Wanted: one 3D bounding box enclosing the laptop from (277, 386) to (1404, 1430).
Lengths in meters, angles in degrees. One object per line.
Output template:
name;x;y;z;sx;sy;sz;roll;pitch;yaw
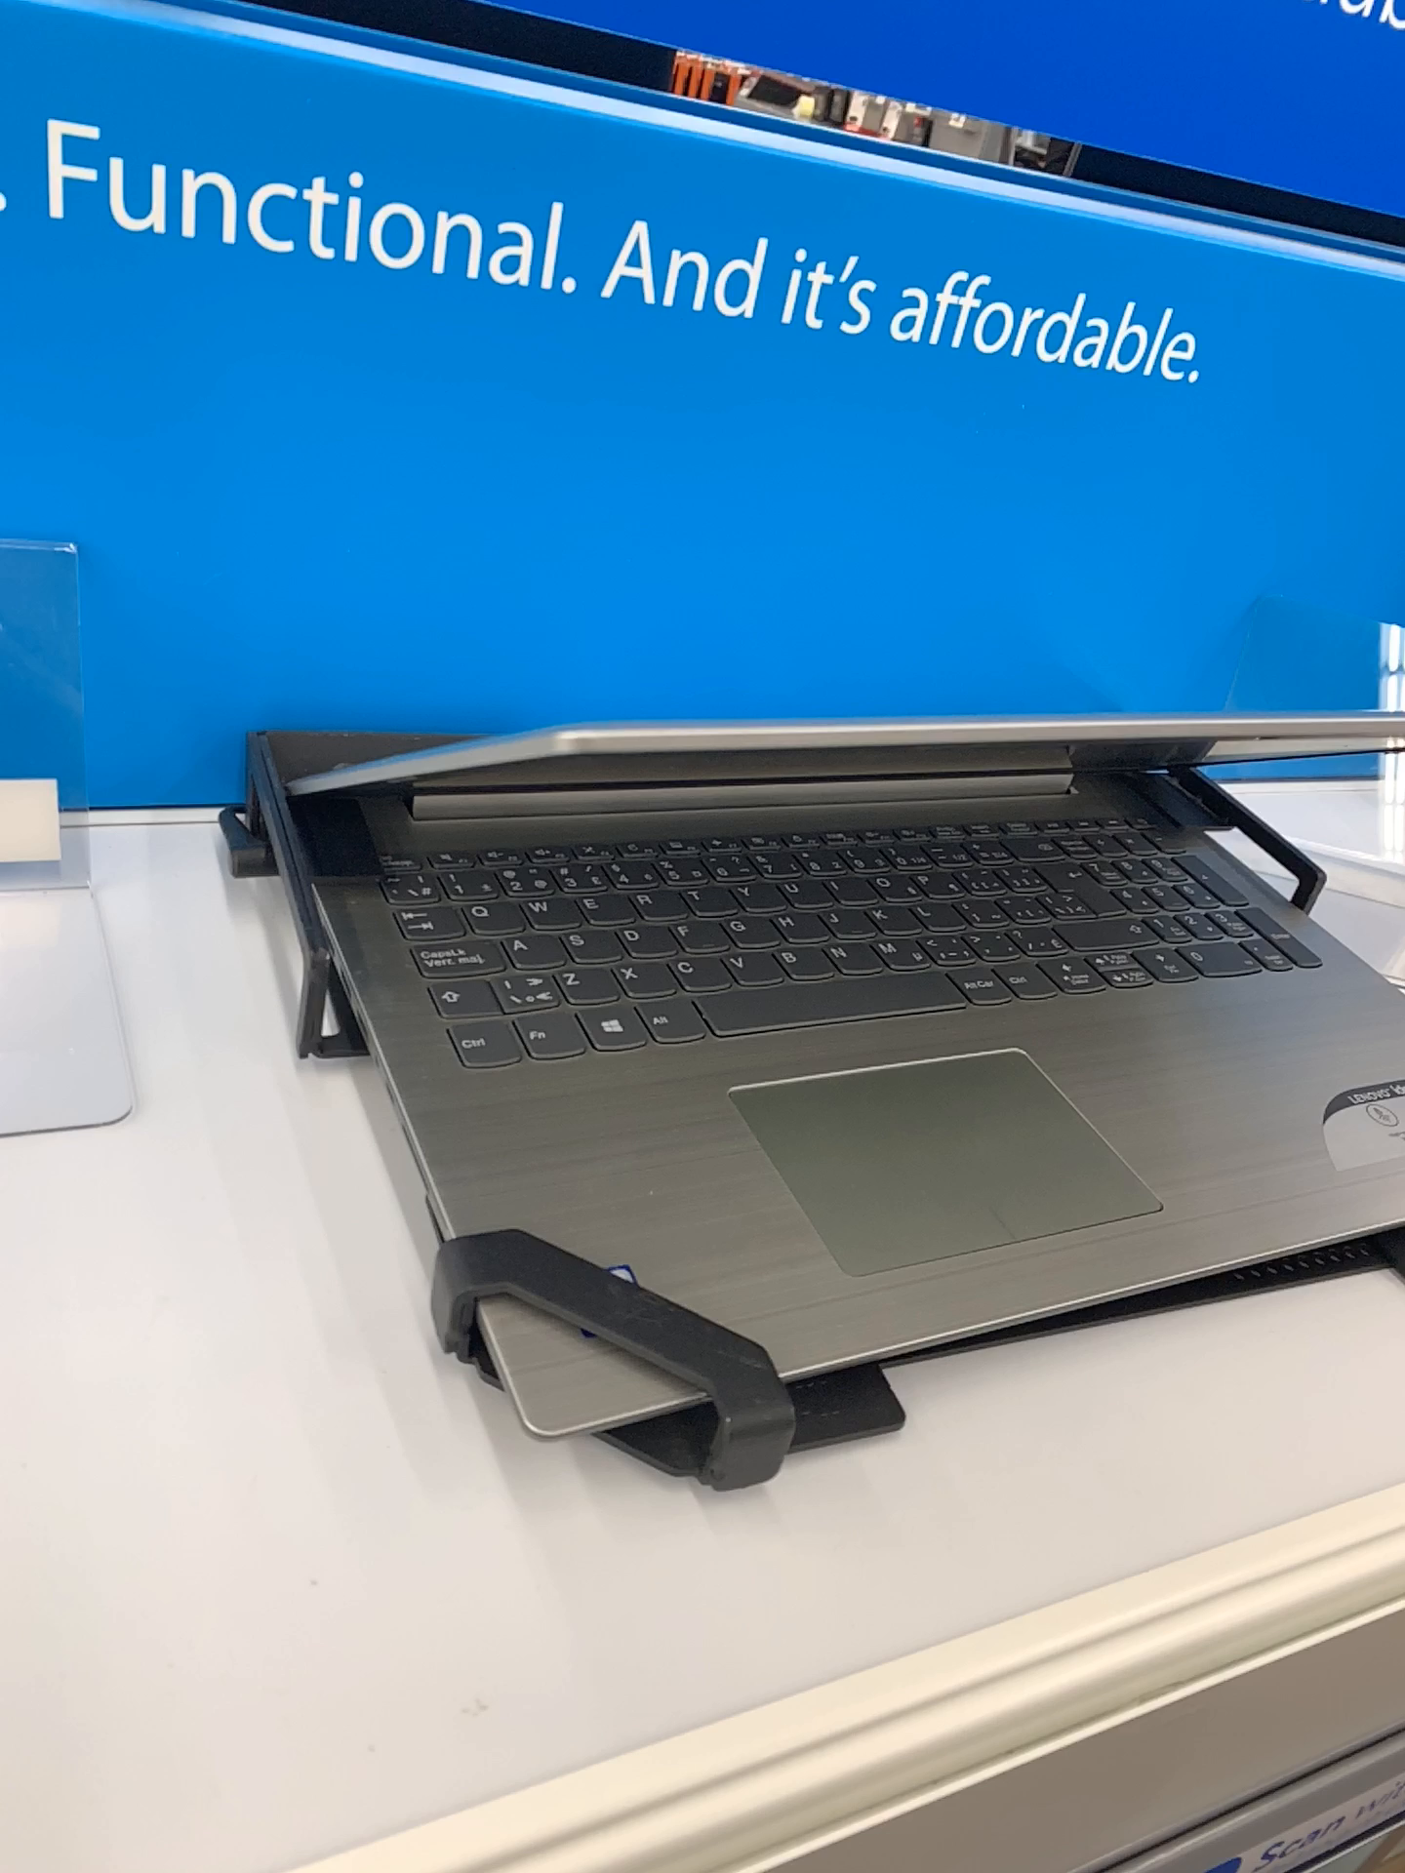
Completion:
laptop;0.080;-0.033;0.376;0.325;0.110;0.220;-4;37;-28
